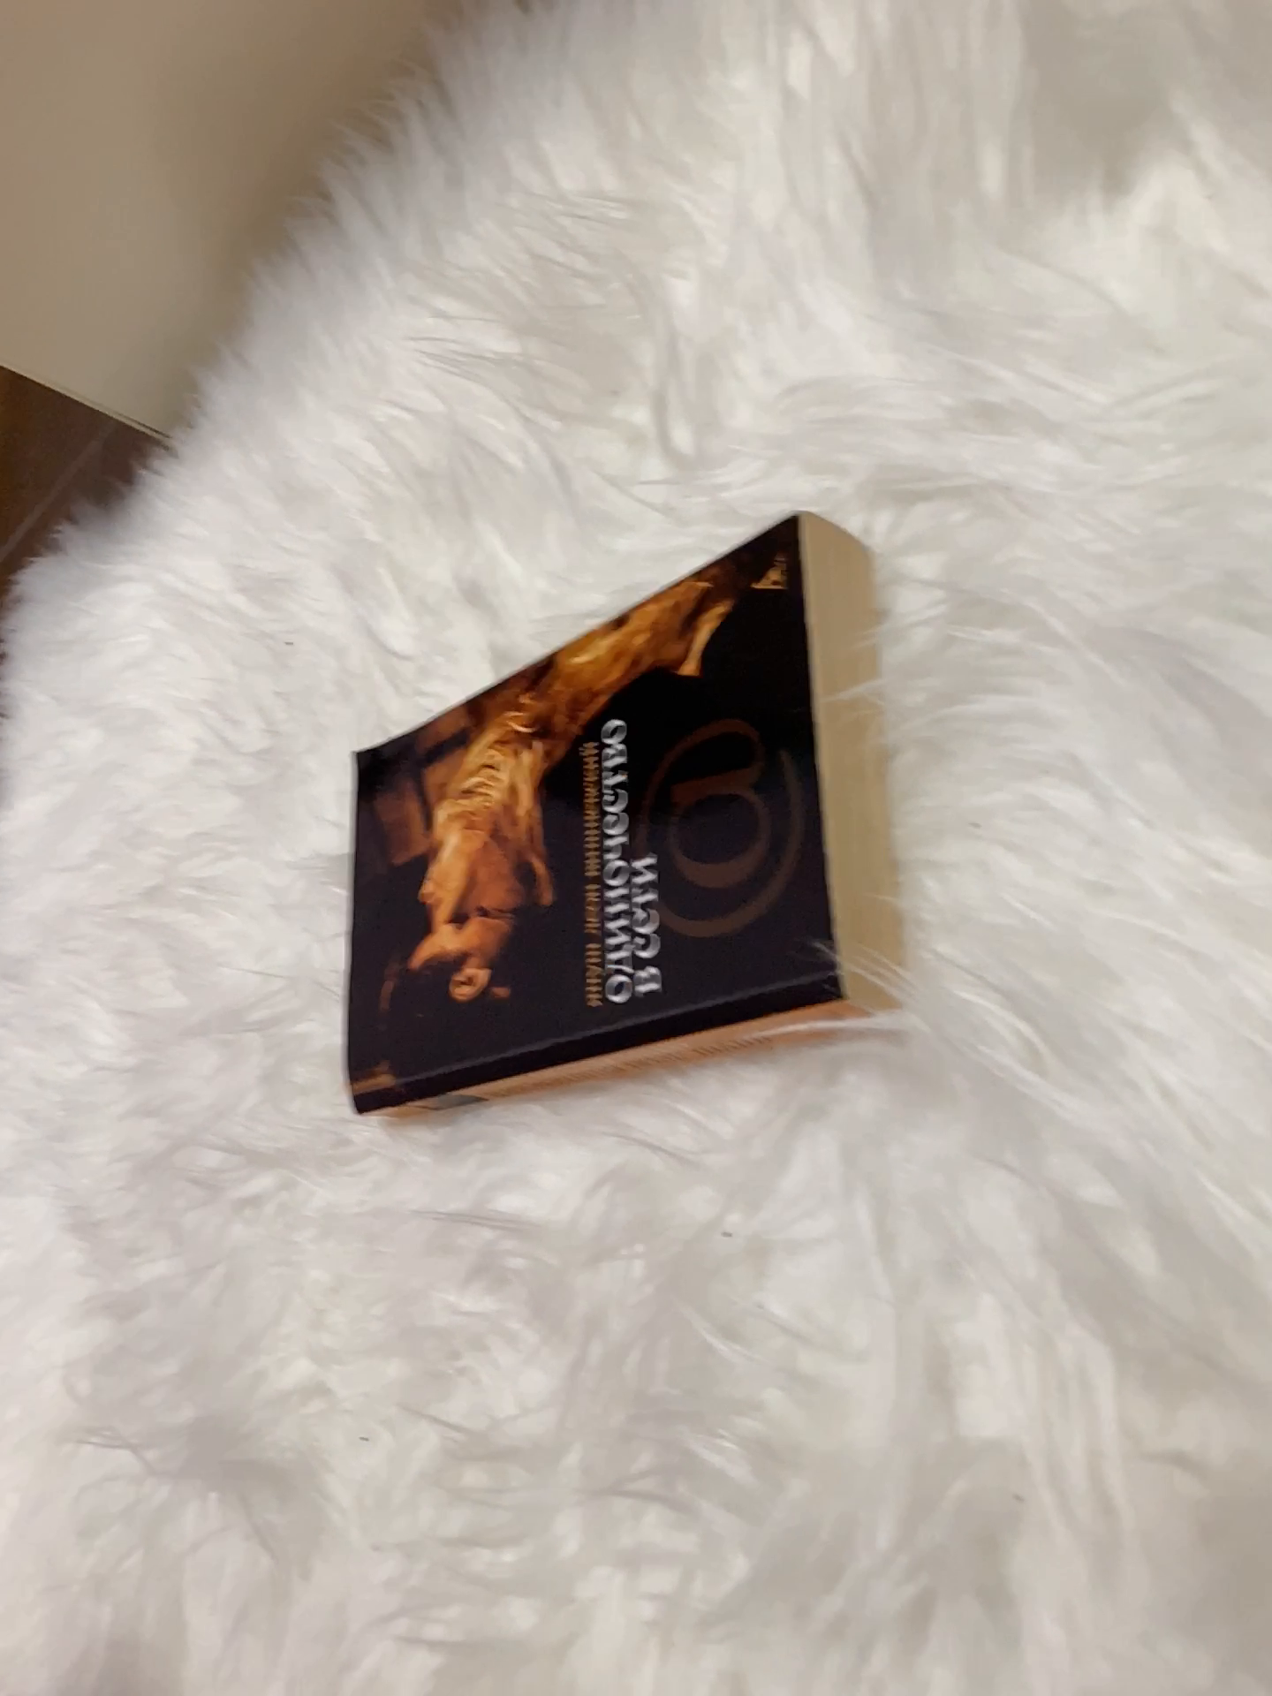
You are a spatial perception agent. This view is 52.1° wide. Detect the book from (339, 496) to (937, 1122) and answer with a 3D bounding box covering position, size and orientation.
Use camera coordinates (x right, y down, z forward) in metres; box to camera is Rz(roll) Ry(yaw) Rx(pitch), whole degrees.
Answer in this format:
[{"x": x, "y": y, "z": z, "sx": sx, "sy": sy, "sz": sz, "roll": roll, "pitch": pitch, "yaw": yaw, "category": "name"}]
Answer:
[{"x": -0.013, "y": 0.001, "z": 0.341, "sx": 0.177, "sy": 0.030, "sz": 0.113, "roll": -21, "pitch": 63, "yaw": 40, "category": "book"}]
